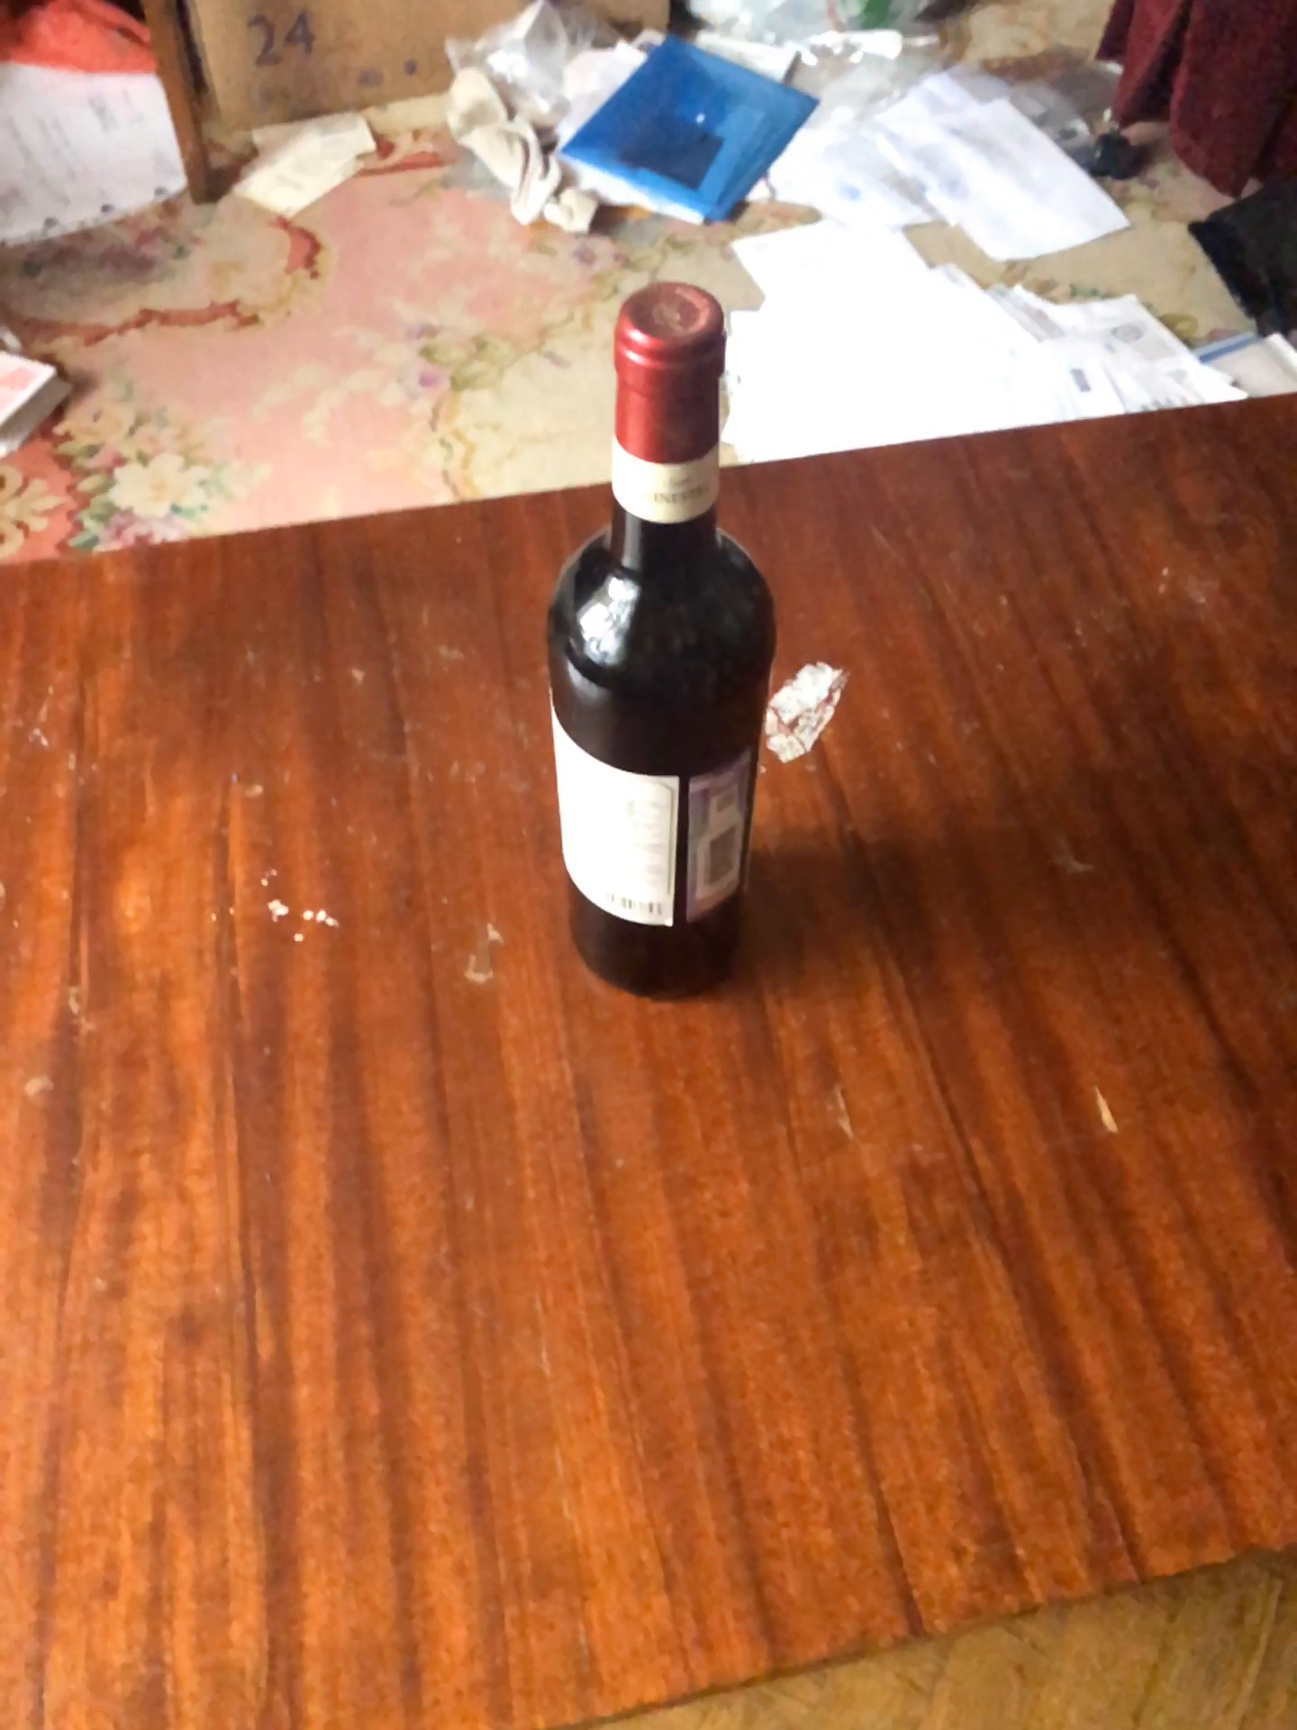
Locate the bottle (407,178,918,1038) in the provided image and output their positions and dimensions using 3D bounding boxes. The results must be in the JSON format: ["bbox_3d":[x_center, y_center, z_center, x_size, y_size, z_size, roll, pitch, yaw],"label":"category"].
[{"bbox_3d":[0.003,-0.060,0.467,0.090,0.269,0.090,0,57,0],"label":"bottle"}]
